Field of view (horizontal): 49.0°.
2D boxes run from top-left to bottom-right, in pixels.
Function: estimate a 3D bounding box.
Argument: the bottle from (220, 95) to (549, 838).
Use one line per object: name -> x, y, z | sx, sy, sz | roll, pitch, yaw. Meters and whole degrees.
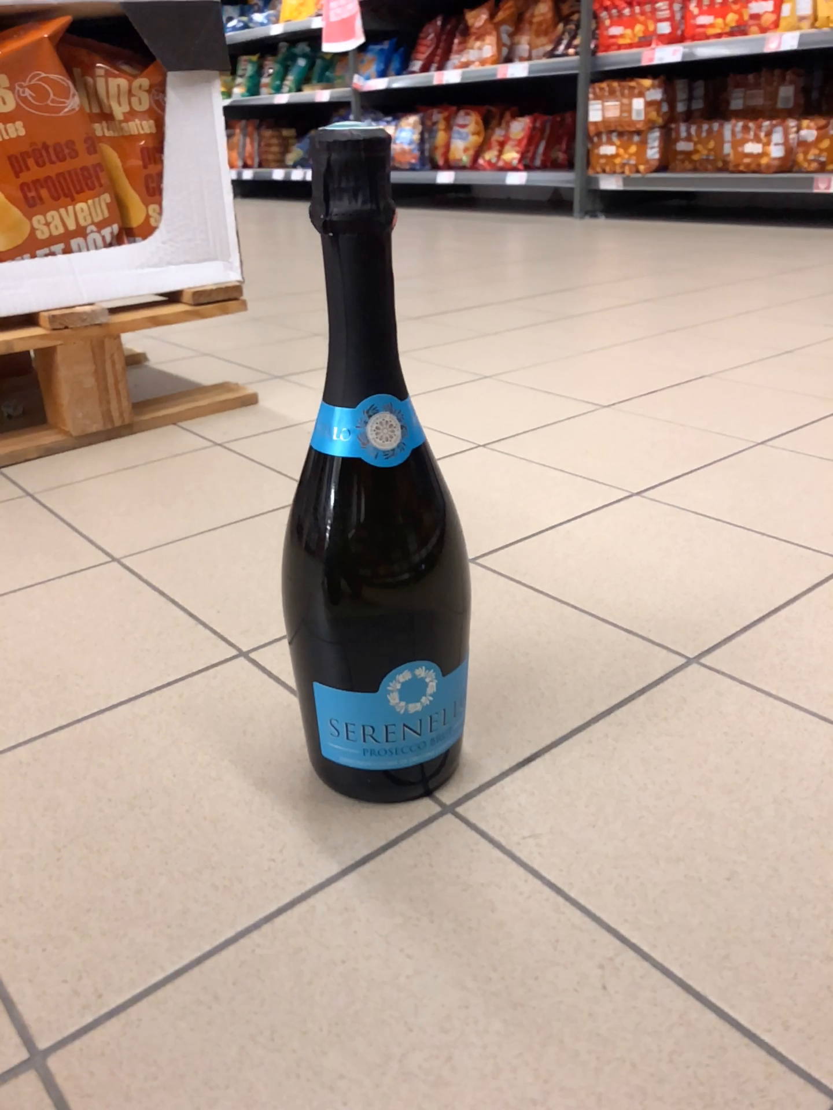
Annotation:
bottle -> -0.009, -0.035, 0.408 | 0.100, 0.298, 0.090 | -12, 26, -19
